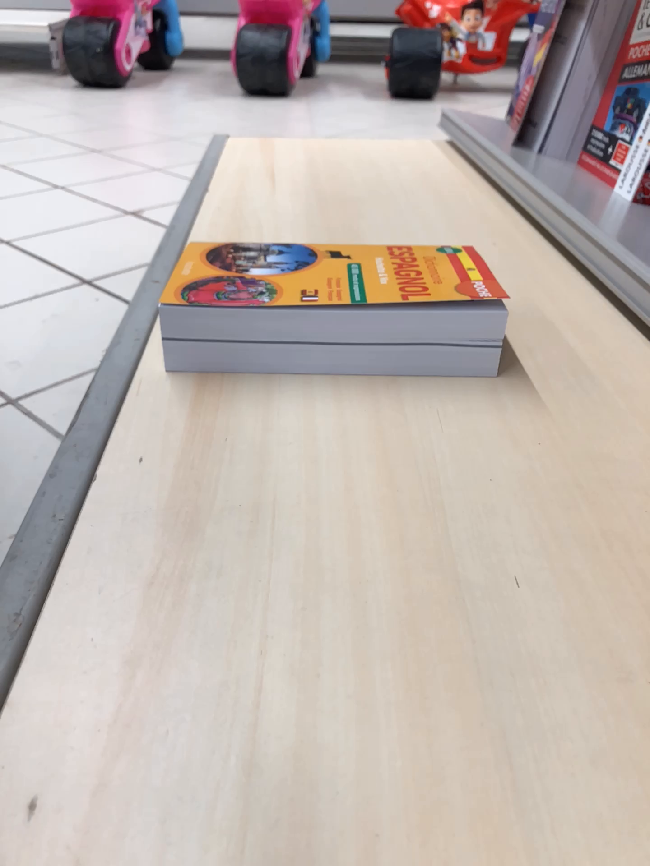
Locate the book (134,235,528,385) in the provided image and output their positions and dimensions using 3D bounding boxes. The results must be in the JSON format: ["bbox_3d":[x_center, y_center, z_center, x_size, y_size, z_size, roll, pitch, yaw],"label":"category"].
[{"bbox_3d":[0.003,-0.074,0.408,0.190,0.040,0.117,1,30,0],"label":"book"}]
